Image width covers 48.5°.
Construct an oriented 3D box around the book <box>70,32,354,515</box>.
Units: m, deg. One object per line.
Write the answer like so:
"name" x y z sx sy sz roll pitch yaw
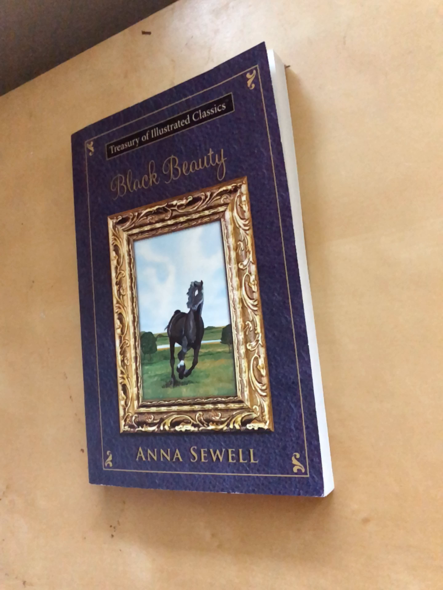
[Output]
"book" -0.014 -0.005 0.236 0.126 0.025 0.193 -10 82 31
